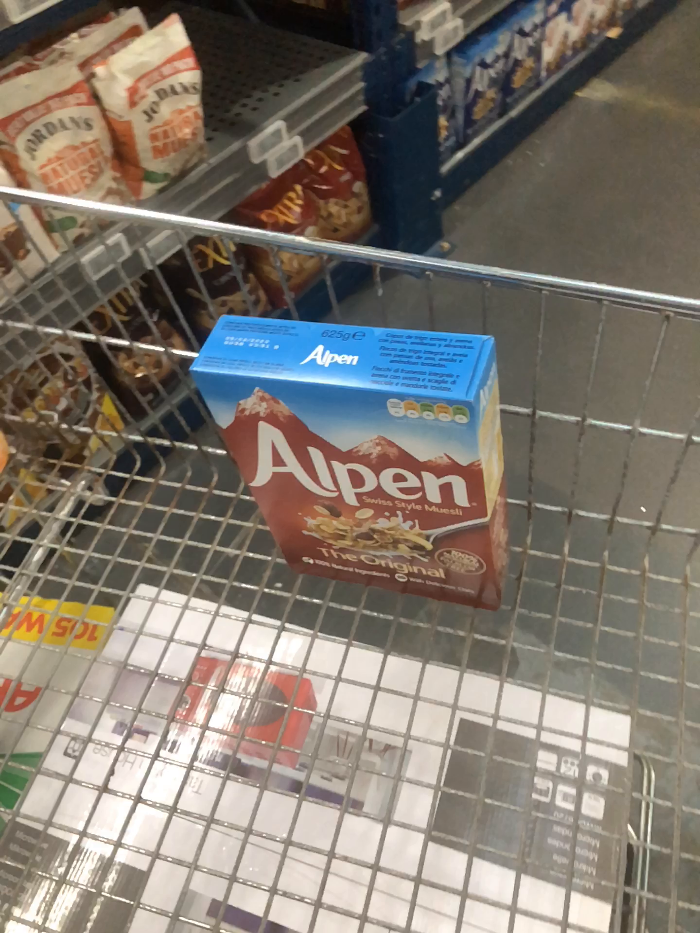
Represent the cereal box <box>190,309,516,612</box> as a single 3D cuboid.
[{"bbox_3d":[0.017,0.004,0.530,0.180,0.219,0.060,8,54,18],"label":"cereal box"}]
